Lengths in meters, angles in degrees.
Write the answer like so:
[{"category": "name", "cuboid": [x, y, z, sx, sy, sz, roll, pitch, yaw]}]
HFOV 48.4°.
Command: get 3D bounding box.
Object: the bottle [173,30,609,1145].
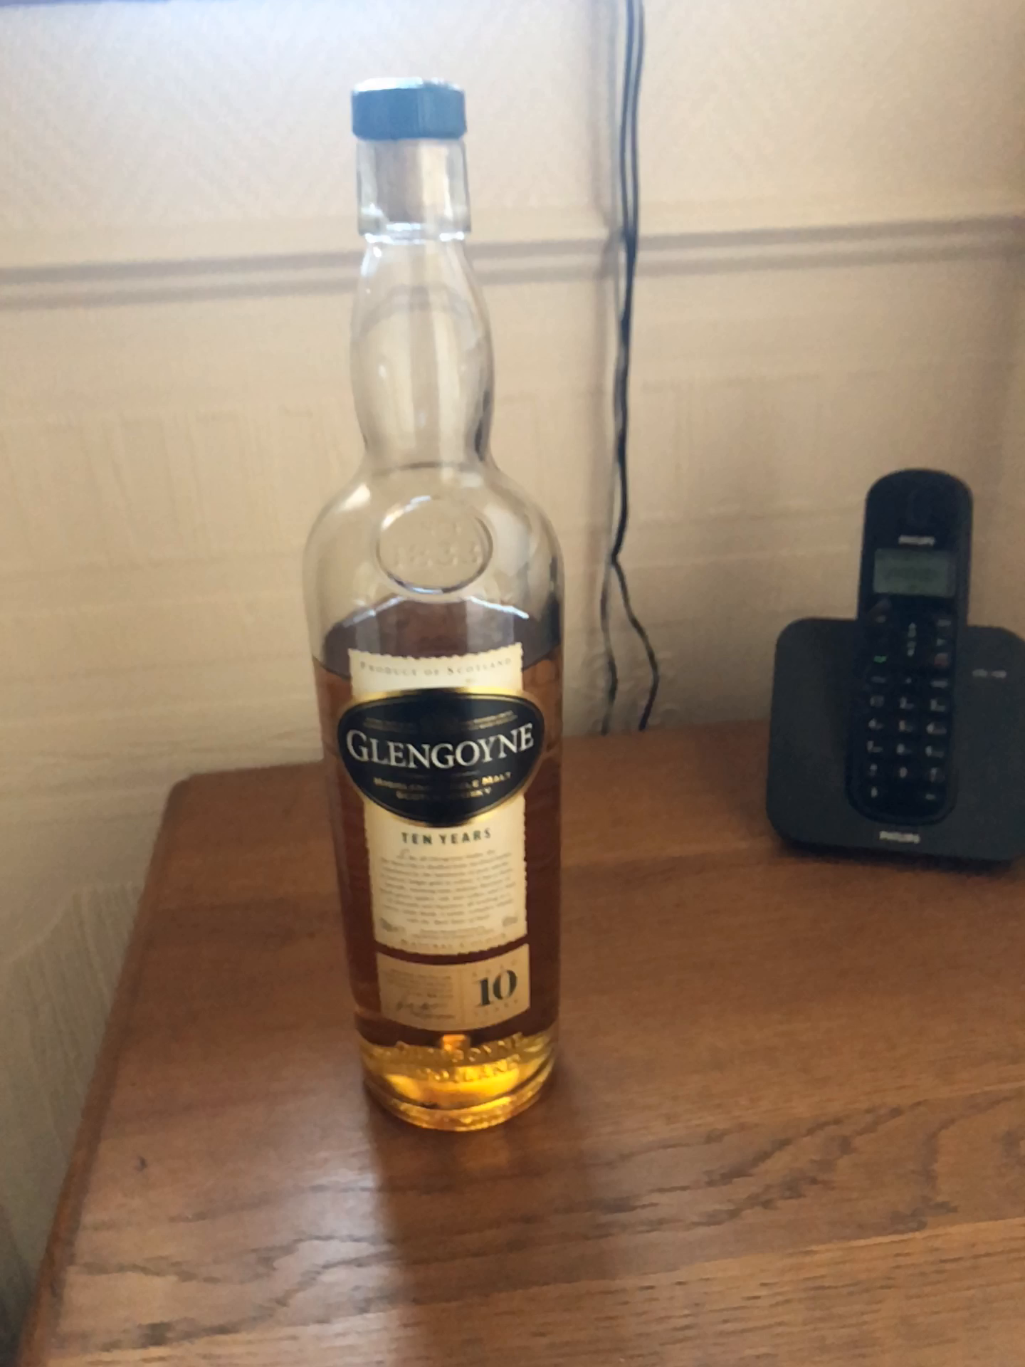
[{"category": "bottle", "cuboid": [-0.022, -0.011, 0.347, 0.090, 0.318, 0.080, -4, 25, -2]}]
